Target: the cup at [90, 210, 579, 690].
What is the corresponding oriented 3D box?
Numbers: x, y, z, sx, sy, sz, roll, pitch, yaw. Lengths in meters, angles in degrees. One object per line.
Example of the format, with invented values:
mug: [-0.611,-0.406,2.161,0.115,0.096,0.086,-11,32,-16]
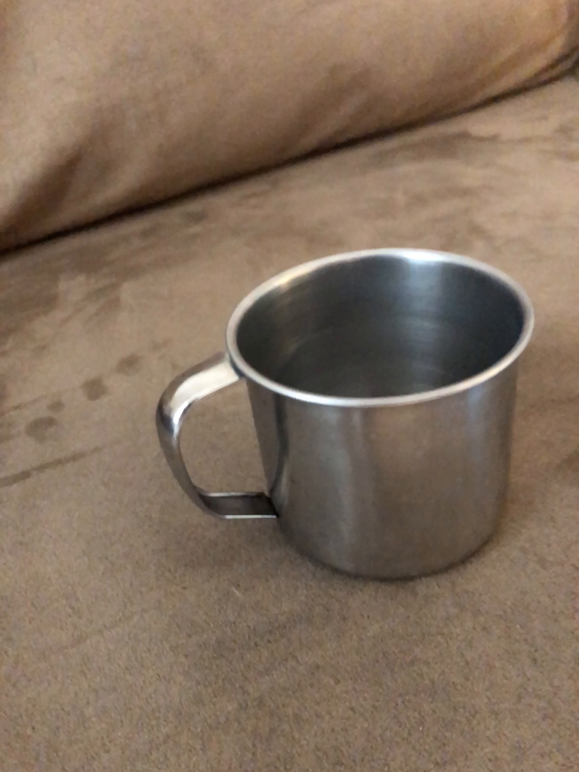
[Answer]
cup: [0.014,0.007,0.195,0.110,0.070,0.091,-21,36,-17]
